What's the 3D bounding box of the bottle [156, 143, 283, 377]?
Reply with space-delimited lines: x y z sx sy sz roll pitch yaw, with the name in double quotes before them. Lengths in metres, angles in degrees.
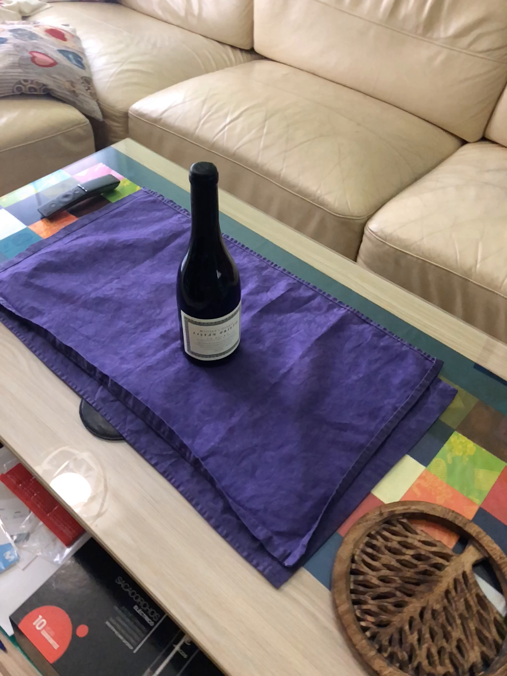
"bottle" -0.042 -0.083 0.673 0.110 0.259 0.100 2 48 -2
